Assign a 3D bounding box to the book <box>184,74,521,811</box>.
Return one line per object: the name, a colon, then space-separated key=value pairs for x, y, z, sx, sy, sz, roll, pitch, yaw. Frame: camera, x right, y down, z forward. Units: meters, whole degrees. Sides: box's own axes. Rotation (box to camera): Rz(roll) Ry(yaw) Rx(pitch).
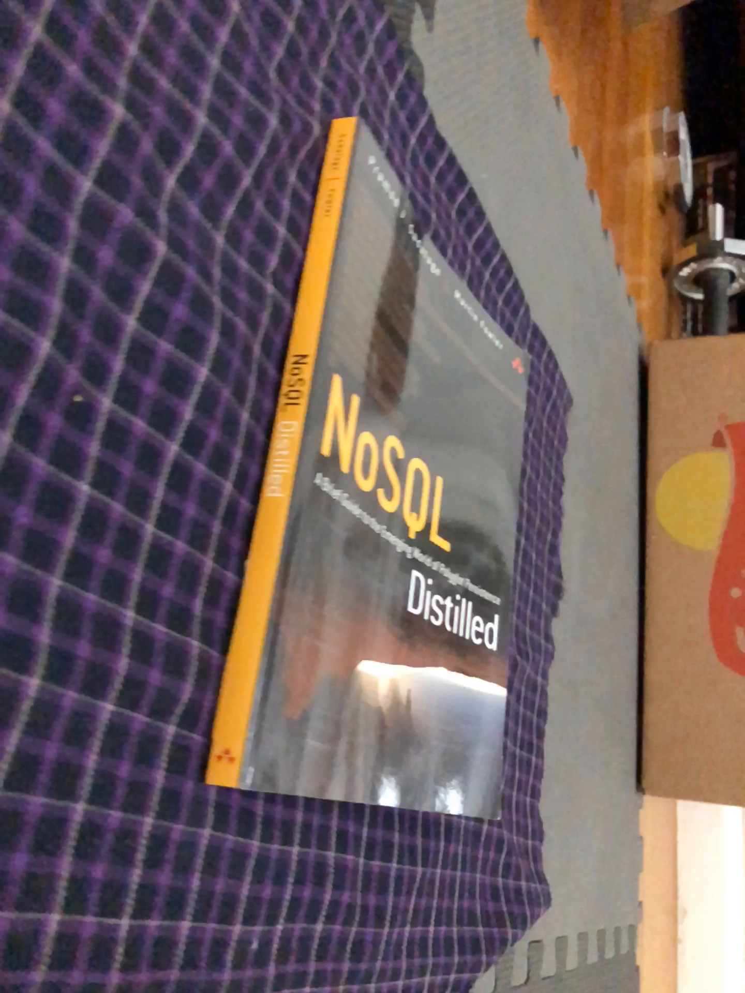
book: x=0.015 y=-0.007 z=0.347 sx=0.191 sy=0.020 sz=0.250 roll=38 pitch=54 yaw=-54
